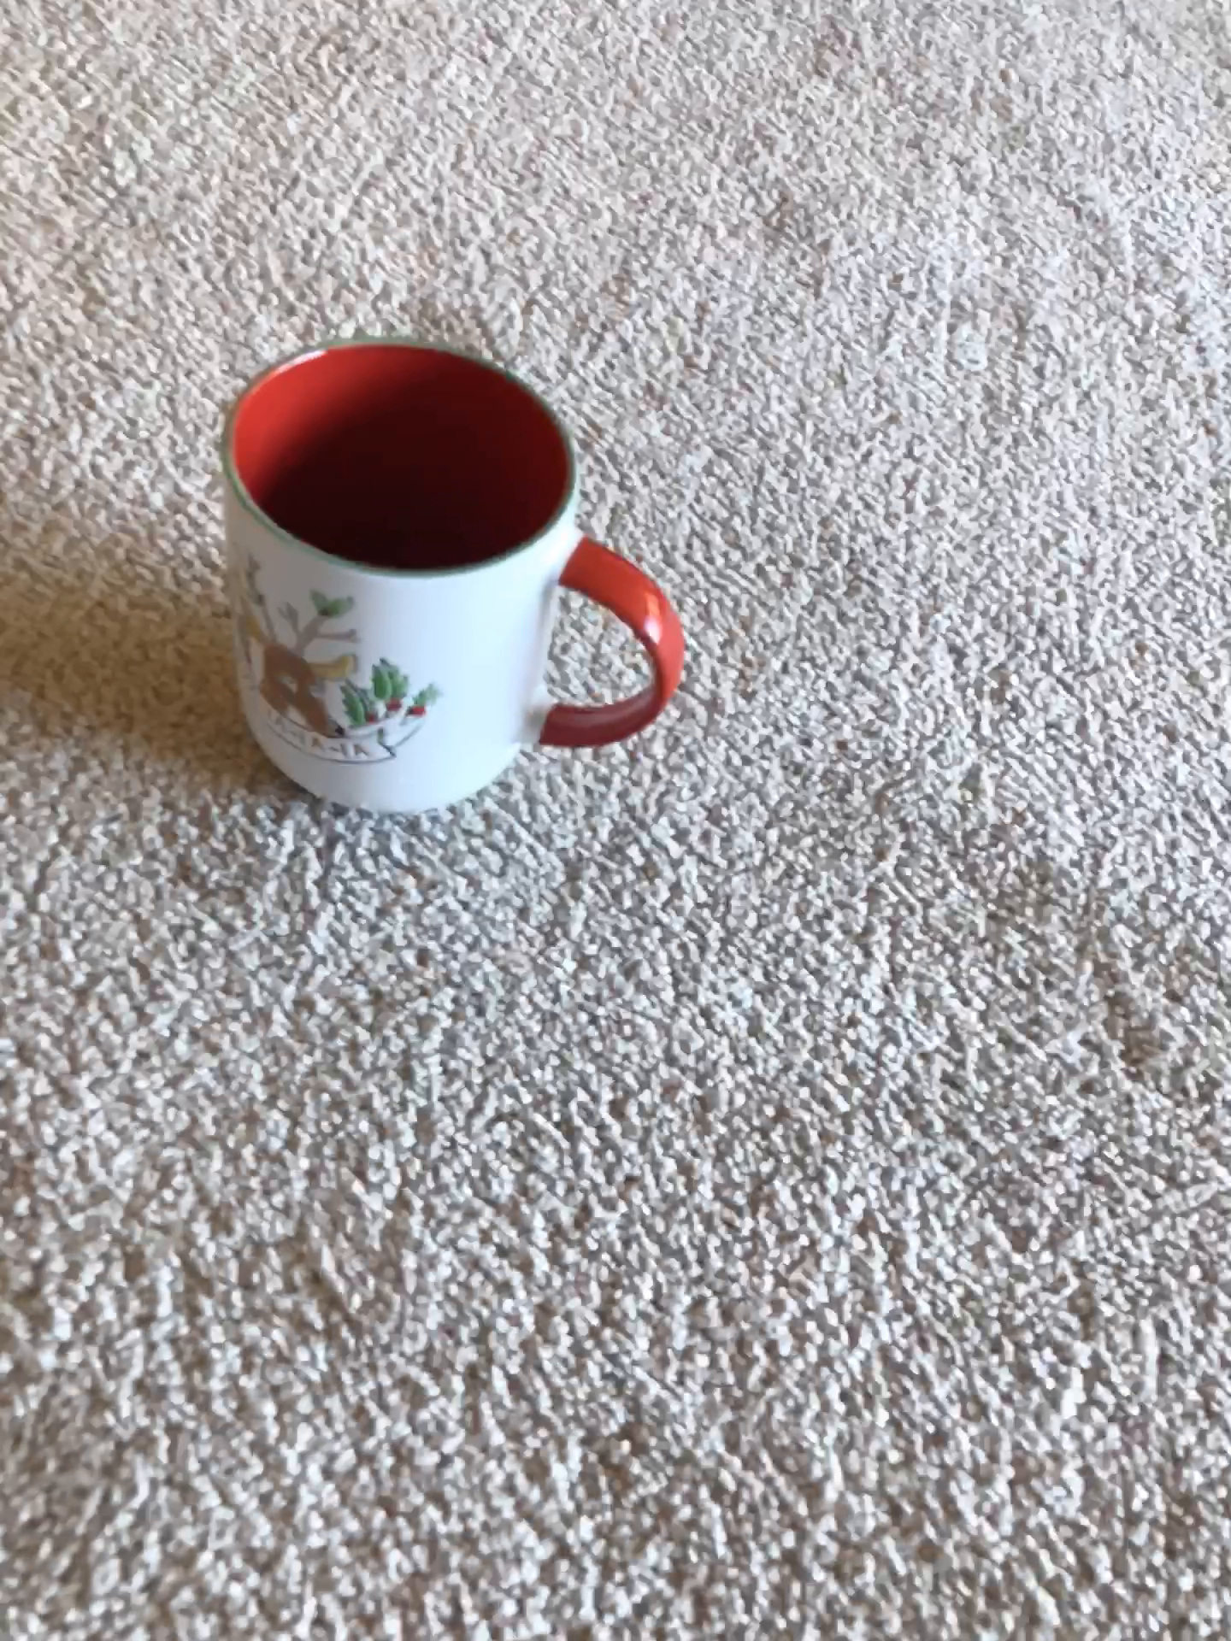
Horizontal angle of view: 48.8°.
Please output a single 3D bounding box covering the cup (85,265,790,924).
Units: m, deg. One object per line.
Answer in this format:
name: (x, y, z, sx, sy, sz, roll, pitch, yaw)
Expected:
cup: (-0.045, -0.062, 0.366, 0.140, 0.090, 0.100, 23, 53, 7)
